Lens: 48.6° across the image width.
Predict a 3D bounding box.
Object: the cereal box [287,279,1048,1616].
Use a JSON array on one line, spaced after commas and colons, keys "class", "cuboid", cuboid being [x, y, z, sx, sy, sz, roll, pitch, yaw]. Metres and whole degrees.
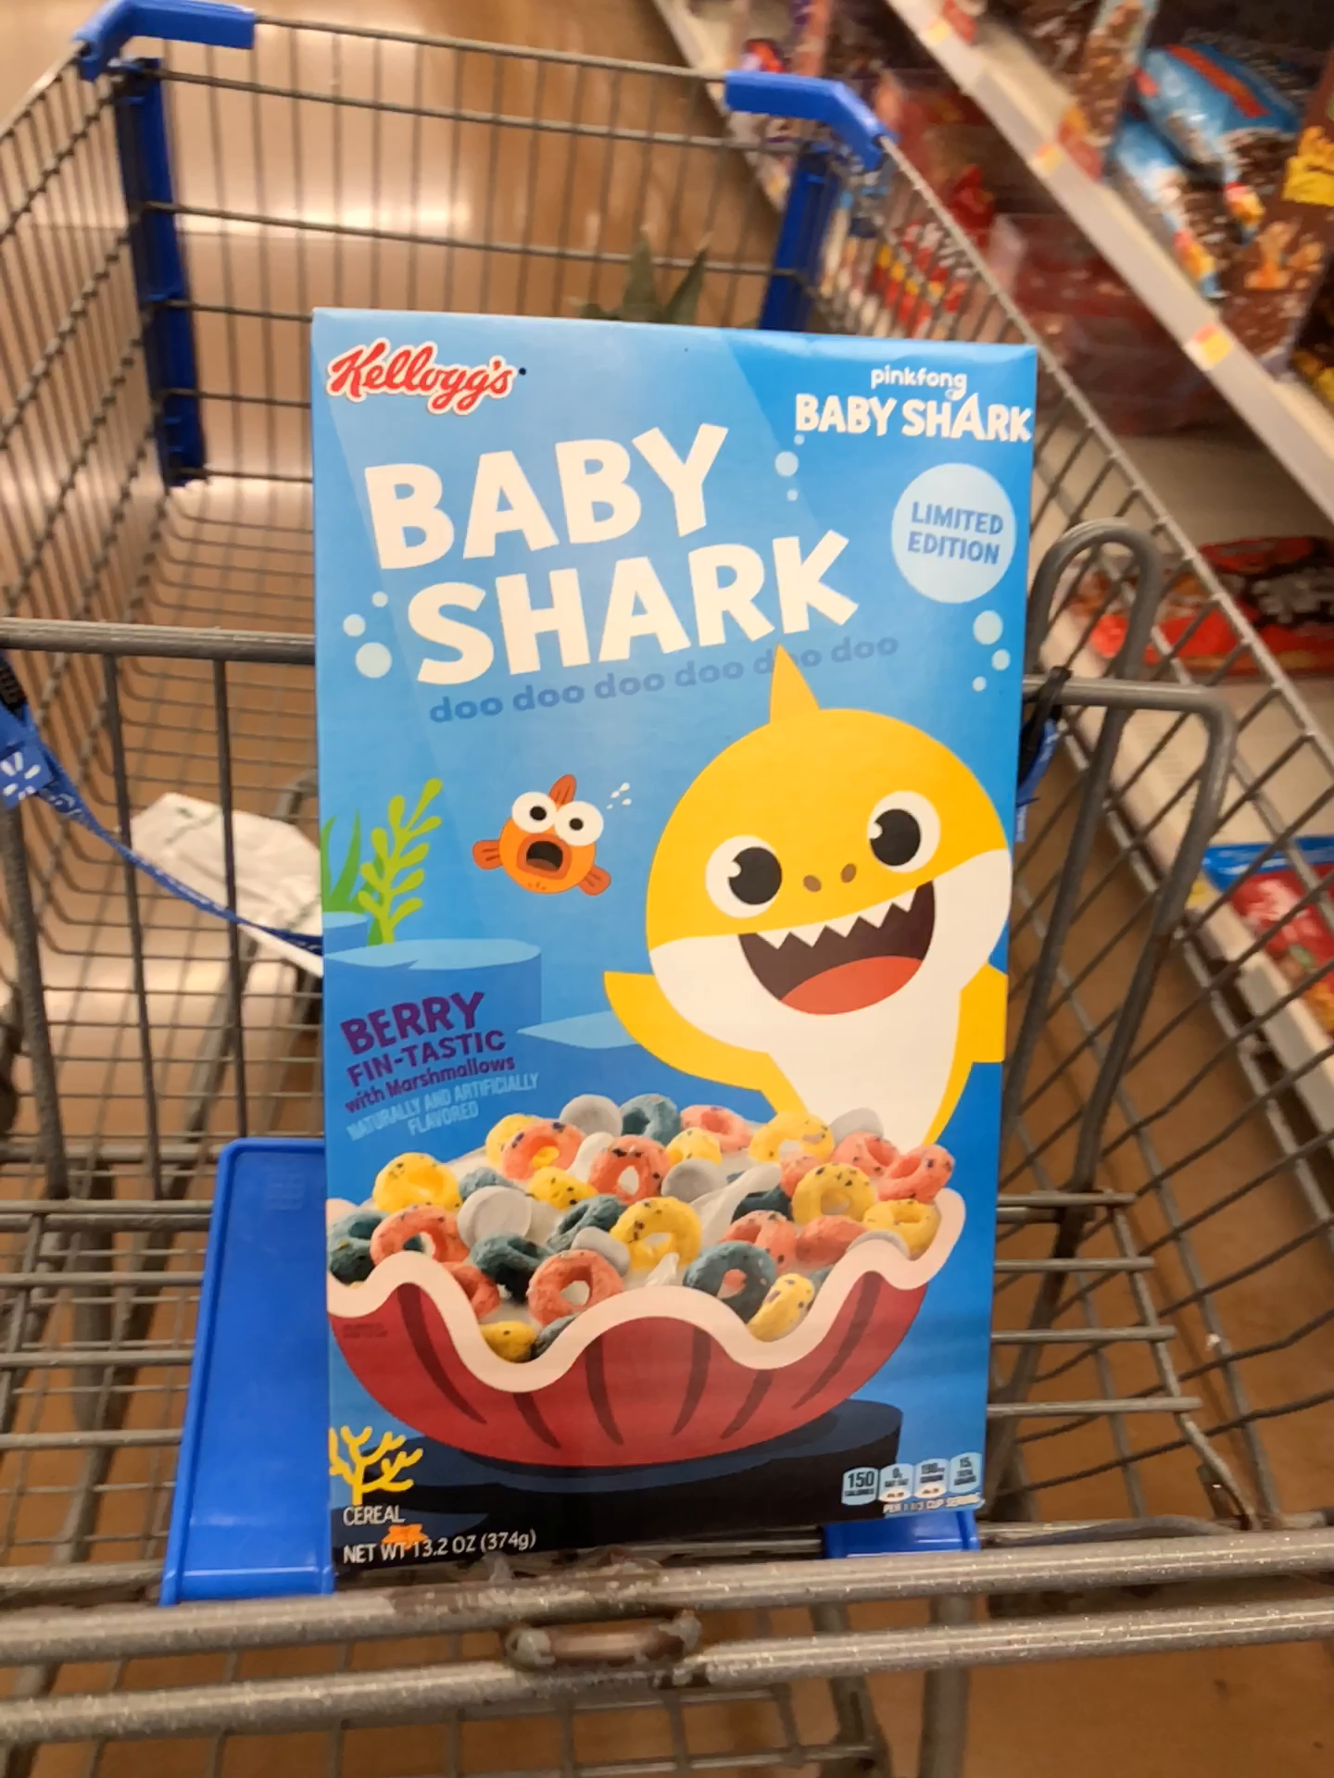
[{"class": "cereal box", "cuboid": [-0.006, 0.020, 0.421, 0.190, 0.340, 0.070, 0, 9, -11]}]
